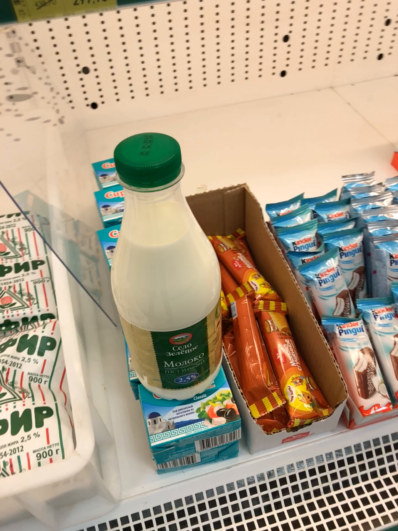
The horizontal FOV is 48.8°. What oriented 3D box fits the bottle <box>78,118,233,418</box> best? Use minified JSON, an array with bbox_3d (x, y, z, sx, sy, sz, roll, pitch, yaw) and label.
[{"bbox_3d":[-0.024,0.020,0.347,0.081,0.238,0.085,-2,47,2],"label":"bottle"}]
